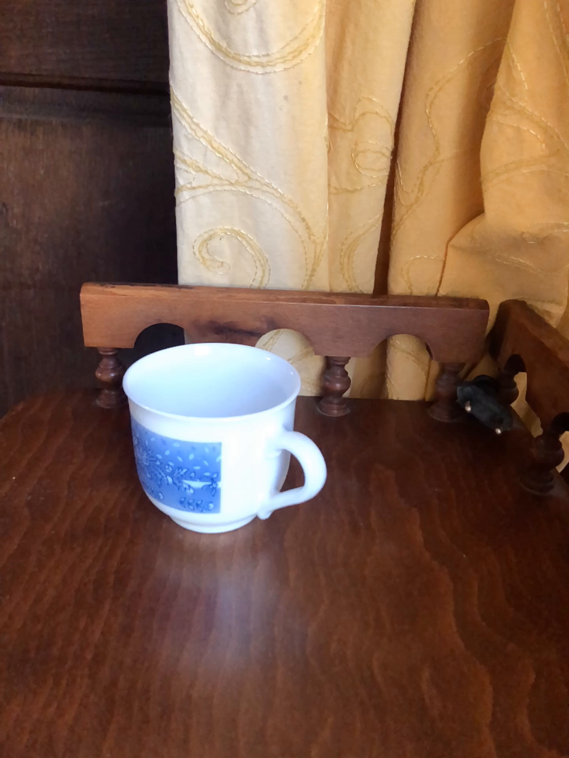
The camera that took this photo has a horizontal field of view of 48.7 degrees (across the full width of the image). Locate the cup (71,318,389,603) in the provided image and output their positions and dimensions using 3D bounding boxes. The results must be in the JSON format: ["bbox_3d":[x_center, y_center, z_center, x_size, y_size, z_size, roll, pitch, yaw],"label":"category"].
[{"bbox_3d":[-0.024,0.024,0.265,0.100,0.060,0.080,23,31,36],"label":"cup"}]
